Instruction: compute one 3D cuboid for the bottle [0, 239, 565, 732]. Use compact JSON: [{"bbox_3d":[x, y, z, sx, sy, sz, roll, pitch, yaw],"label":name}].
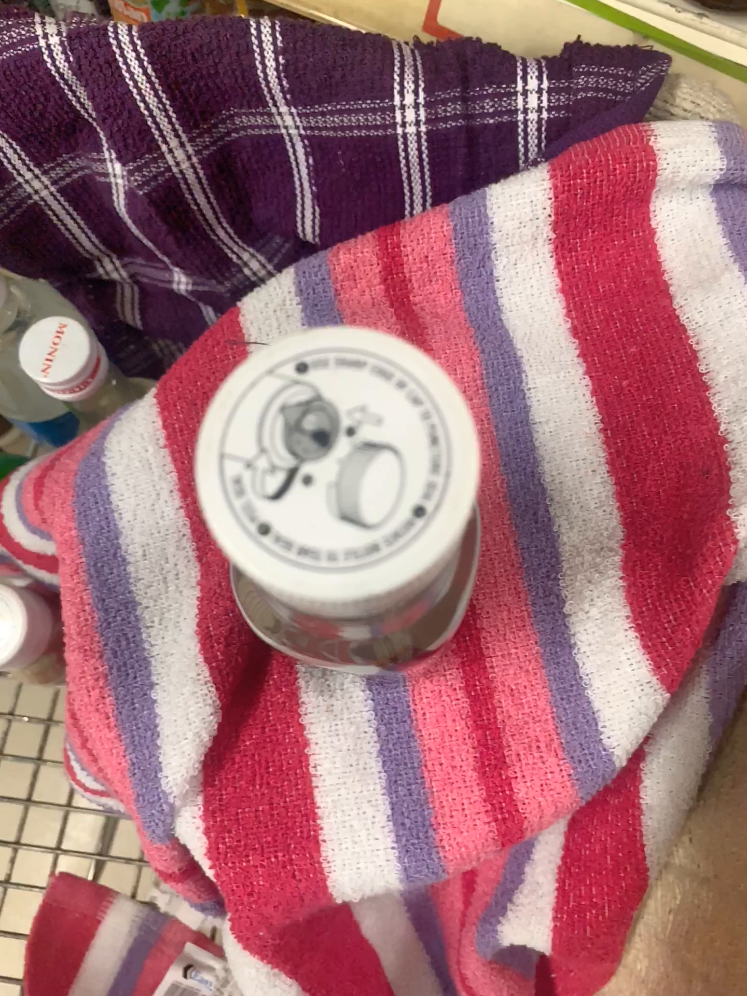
[{"bbox_3d":[-0.009,0.014,0.161,0.060,0.140,0.050,12,75,5],"label":"bottle"}]
